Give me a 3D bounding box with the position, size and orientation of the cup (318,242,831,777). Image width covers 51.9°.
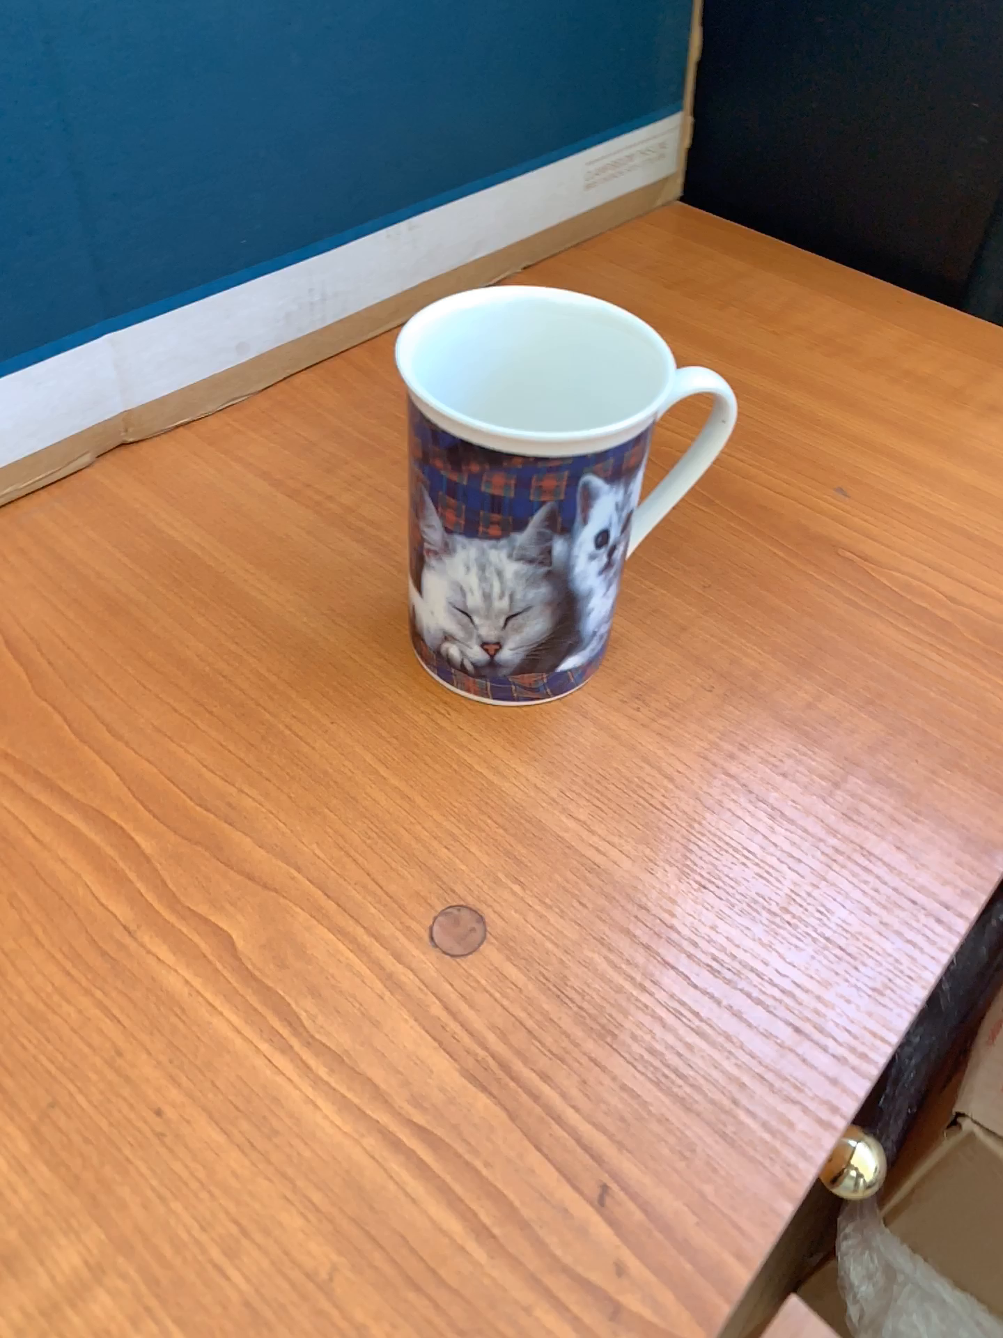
[{"bbox_3d":[0.018,-0.050,0.307,0.110,0.100,0.080,-28,54,-27],"label":"cup"}]
